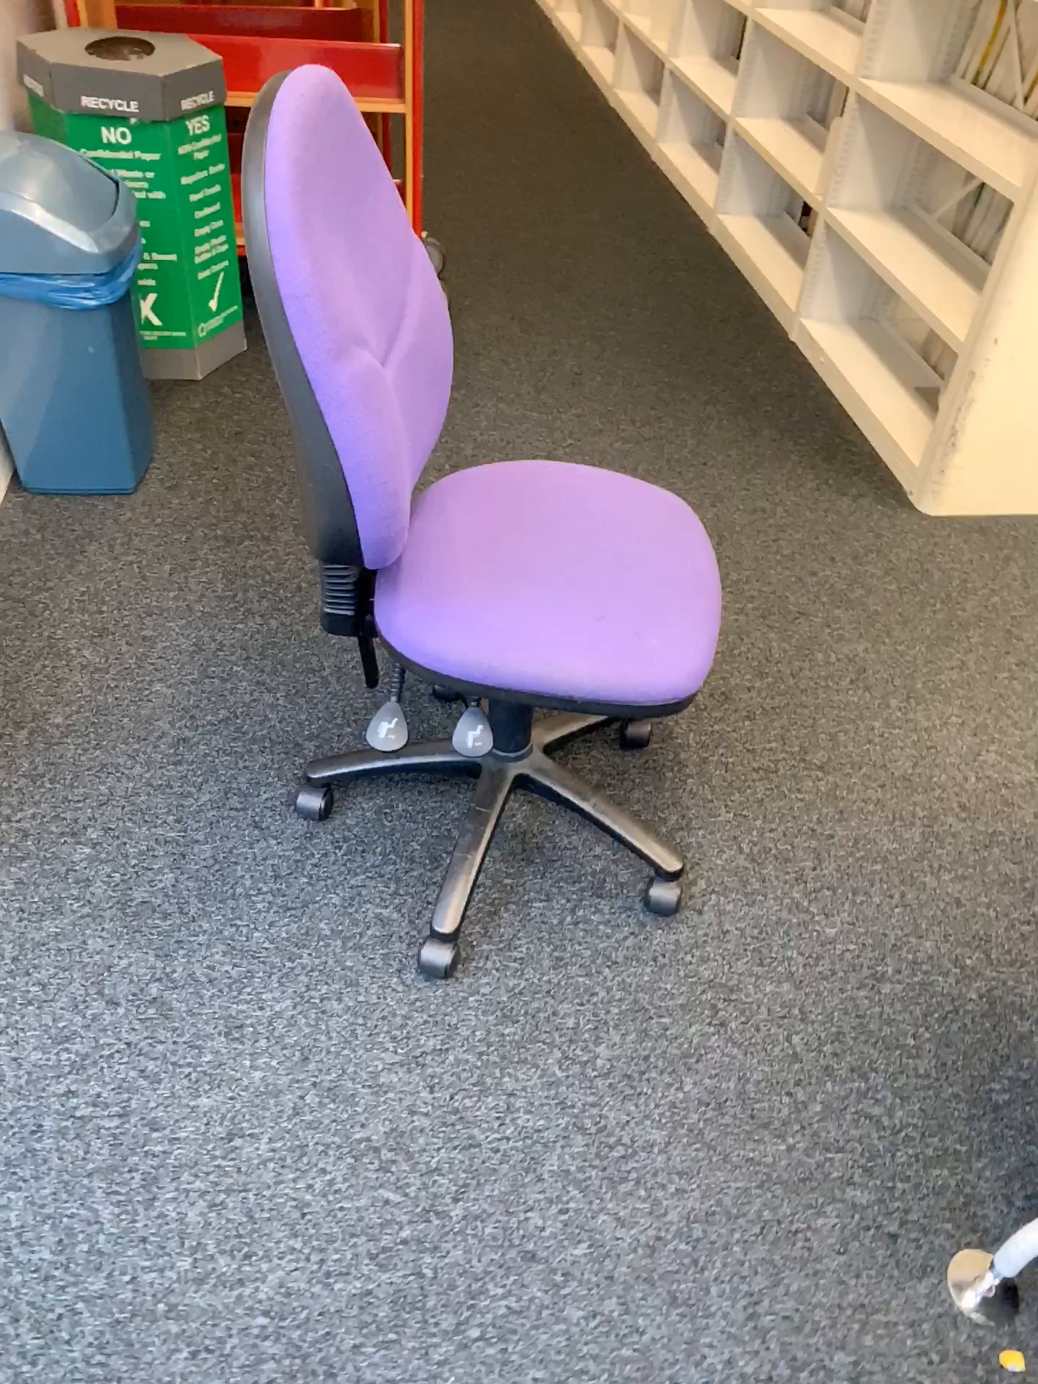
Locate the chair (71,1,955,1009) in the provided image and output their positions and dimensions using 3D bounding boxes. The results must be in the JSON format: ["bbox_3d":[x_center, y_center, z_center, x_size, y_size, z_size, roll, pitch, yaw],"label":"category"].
[{"bbox_3d":[-0.010,-0.205,1.330,0.634,0.983,0.675,6,41,1],"label":"chair"}]
